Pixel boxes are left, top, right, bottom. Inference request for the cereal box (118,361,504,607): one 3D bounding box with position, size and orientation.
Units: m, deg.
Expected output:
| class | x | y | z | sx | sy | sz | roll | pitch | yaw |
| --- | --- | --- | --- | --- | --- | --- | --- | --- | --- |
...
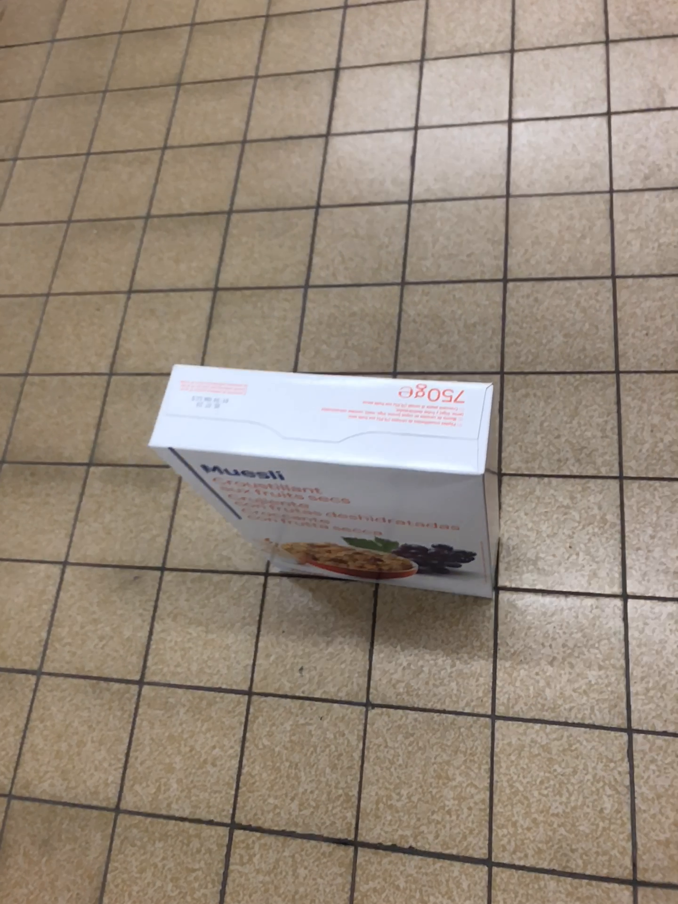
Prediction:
| class | x | y | z | sx | sy | sz | roll | pitch | yaw |
| --- | --- | --- | --- | --- | --- | --- | --- | --- | --- |
| cereal box | 0.008 | 0.036 | 0.516 | 0.200 | 0.269 | 0.060 | 4 | 68 | 15 |
